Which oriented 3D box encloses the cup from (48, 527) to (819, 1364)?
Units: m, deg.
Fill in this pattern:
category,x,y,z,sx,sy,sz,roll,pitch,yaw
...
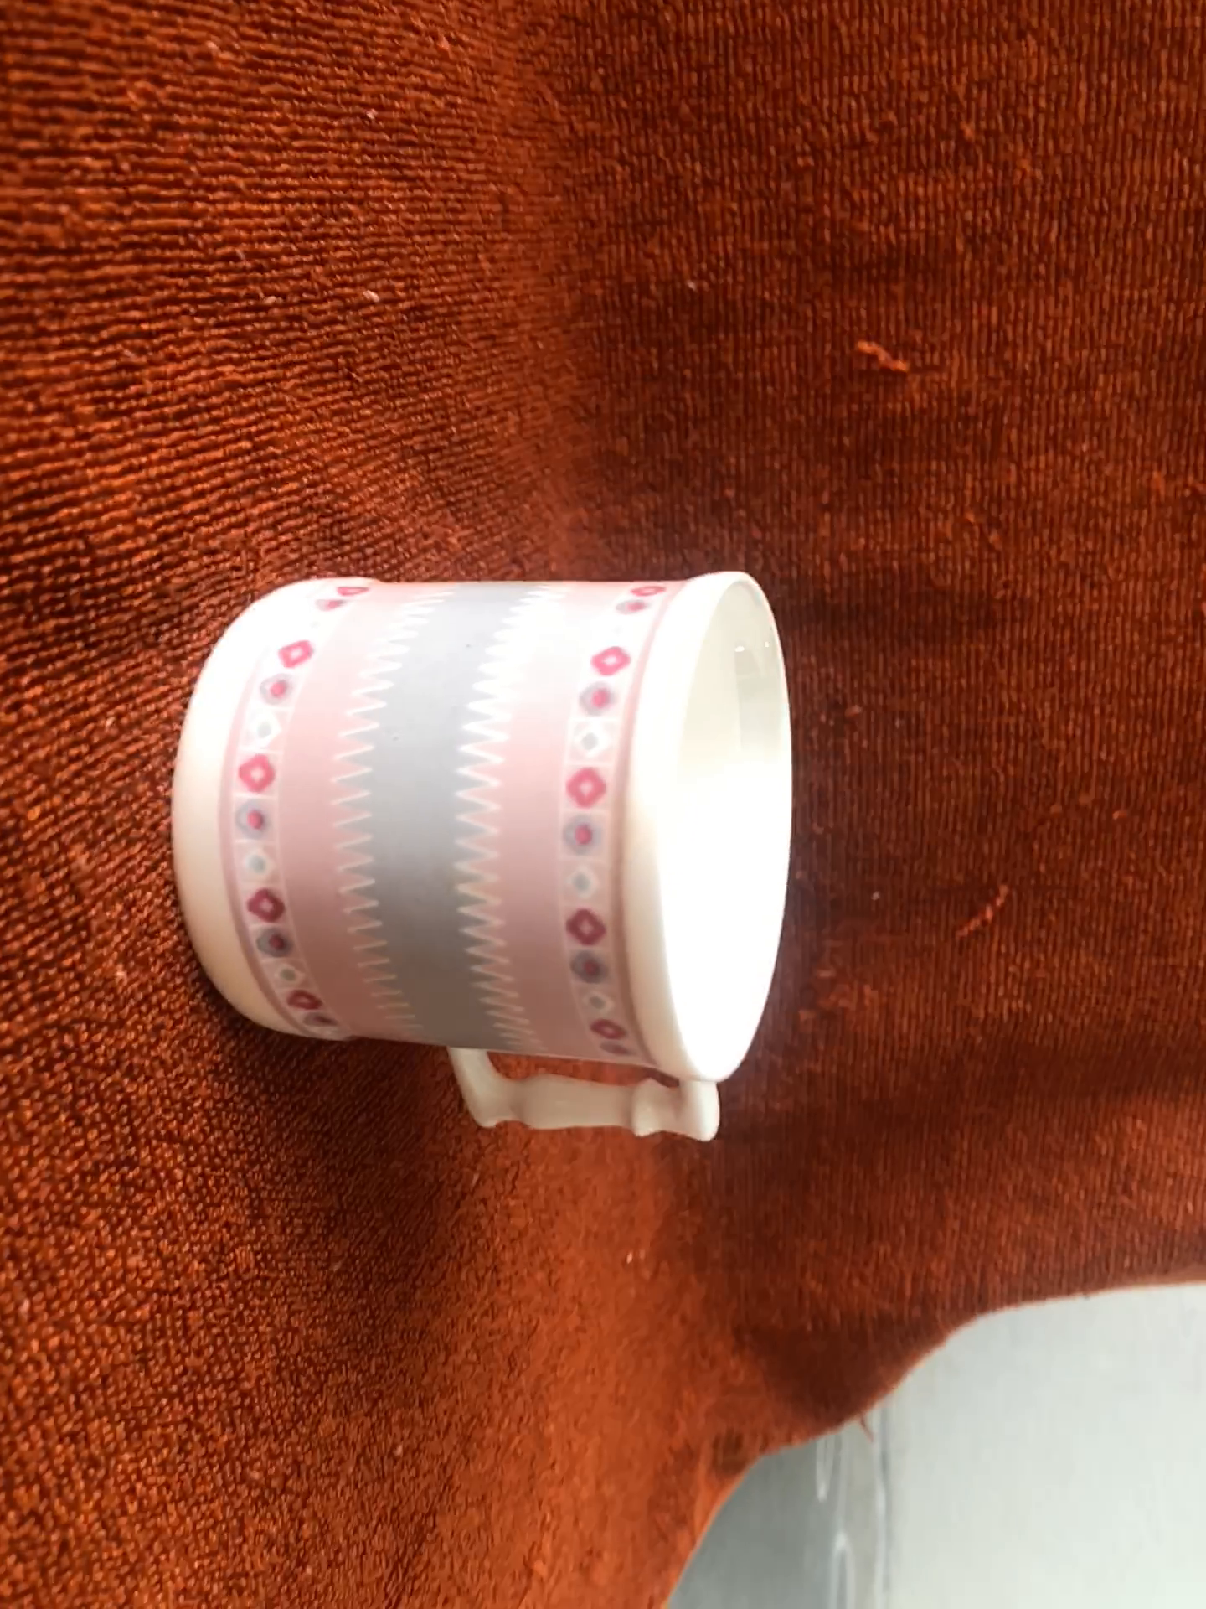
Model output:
category,x,y,z,sx,sy,sz,roll,pitch,yaw
cup,-0.012,0.017,0.184,0.060,0.070,0.090,-63,151,-50
